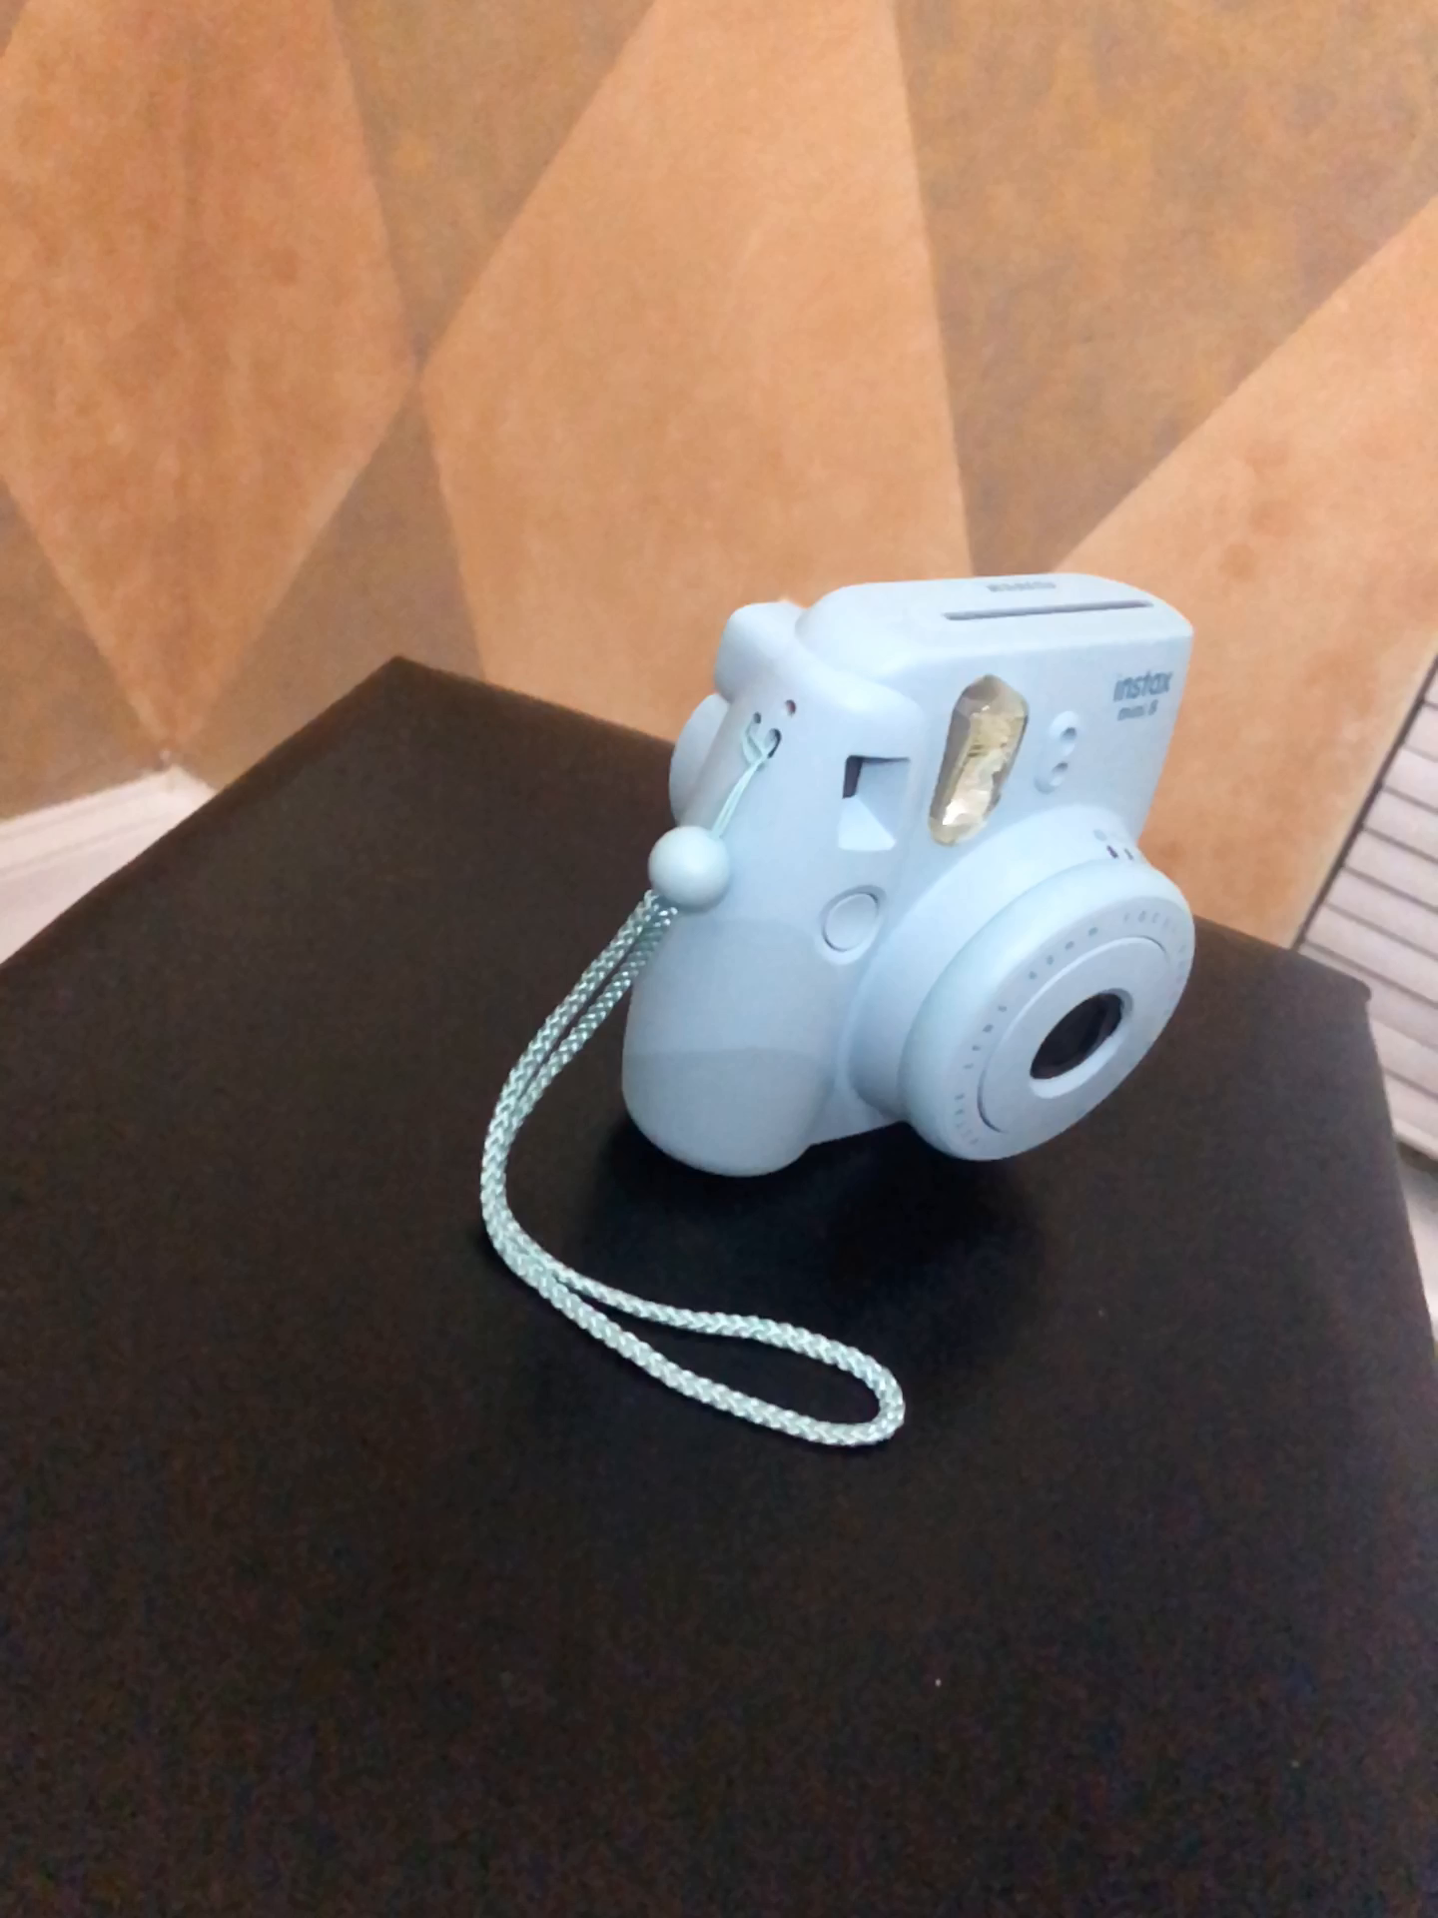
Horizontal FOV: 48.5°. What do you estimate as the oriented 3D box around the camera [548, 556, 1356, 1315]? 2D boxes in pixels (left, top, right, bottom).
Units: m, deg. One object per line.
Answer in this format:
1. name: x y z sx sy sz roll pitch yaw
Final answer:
1. camera: 0.043 -0.011 0.324 0.120 0.118 0.068 -12 41 -36
